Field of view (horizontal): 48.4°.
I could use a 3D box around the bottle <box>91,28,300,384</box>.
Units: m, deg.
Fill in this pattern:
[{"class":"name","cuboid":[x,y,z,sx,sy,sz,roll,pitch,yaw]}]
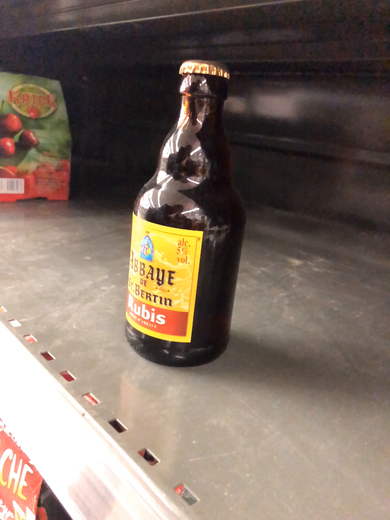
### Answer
[{"class":"bottle","cuboid":[-0.006,-0.031,0.256,0.070,0.169,0.080,-9,22,-42]}]
